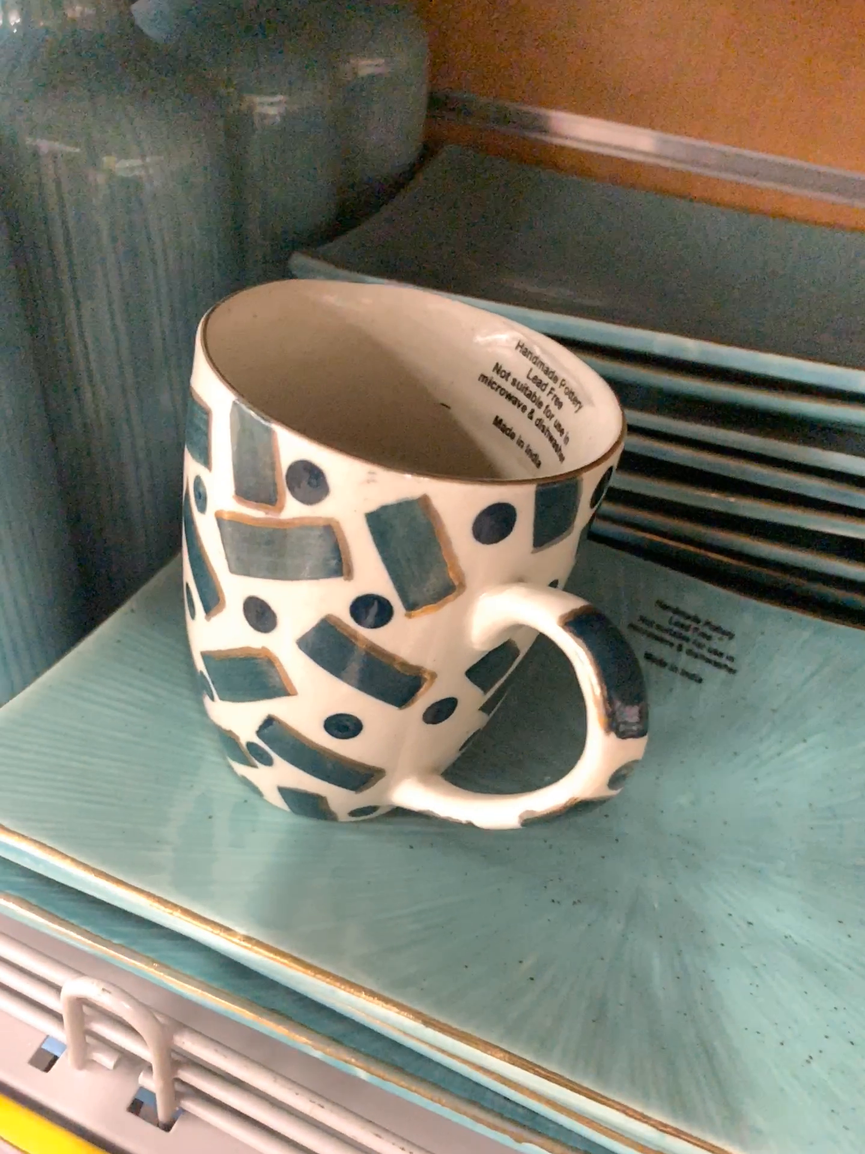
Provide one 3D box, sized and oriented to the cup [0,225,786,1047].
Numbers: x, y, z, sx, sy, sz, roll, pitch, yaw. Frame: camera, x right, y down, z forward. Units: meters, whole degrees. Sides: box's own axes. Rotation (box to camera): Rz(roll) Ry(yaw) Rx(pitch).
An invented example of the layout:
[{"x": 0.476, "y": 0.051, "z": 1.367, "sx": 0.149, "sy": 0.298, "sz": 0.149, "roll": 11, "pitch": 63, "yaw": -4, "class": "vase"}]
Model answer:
[{"x": -0.017, "y": -0.002, "z": 0.166, "sx": 0.110, "sy": 0.080, "sz": 0.080, "roll": 35, "pitch": 39, "yaw": 24, "class": "cup"}]
